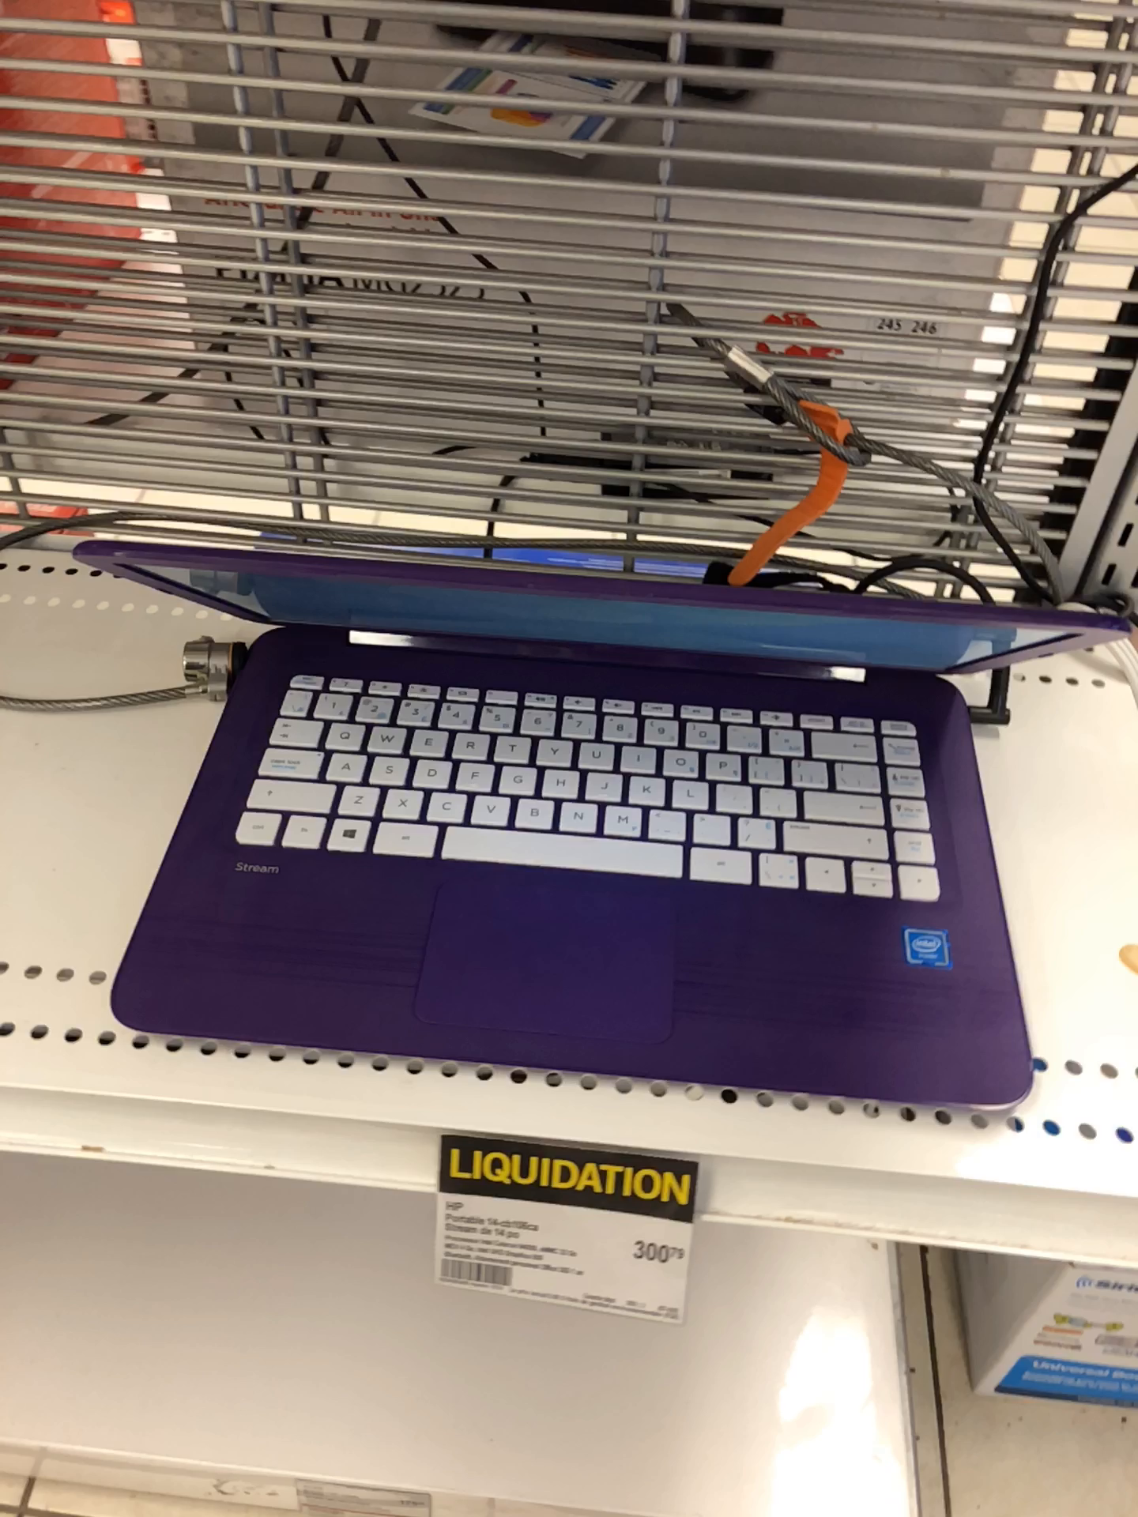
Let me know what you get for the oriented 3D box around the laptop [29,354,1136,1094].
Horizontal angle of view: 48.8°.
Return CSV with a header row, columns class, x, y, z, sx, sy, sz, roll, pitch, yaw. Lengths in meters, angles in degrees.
class,x,y,z,sx,sy,sz,roll,pitch,yaw
laptop,0.010,-0.021,0.461,0.305,0.138,0.207,5,48,3
